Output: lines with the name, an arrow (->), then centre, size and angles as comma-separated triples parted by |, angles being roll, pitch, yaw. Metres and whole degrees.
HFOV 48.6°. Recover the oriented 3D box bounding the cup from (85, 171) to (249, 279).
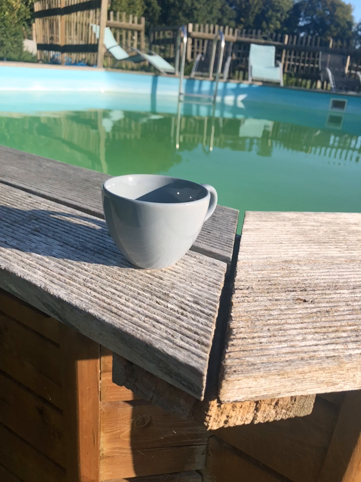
cup -> -0.016, -0.020, 0.335 | 0.105, 0.052, 0.091 | -7, 26, -26
